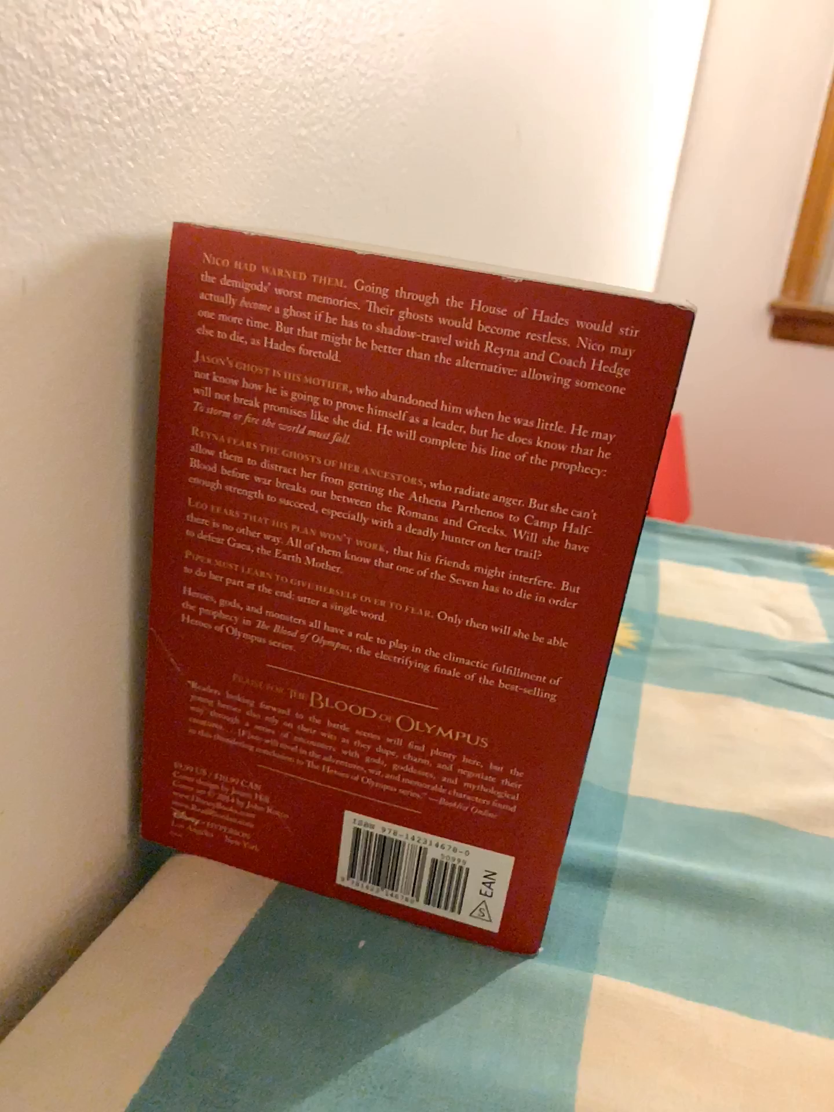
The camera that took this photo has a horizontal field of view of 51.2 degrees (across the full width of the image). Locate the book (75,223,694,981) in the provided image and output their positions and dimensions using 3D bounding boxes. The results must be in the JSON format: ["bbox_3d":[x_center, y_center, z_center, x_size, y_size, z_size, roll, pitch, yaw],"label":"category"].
[{"bbox_3d":[-0.017,0.009,0.250,0.150,0.180,0.051,12,20,14],"label":"book"}]
